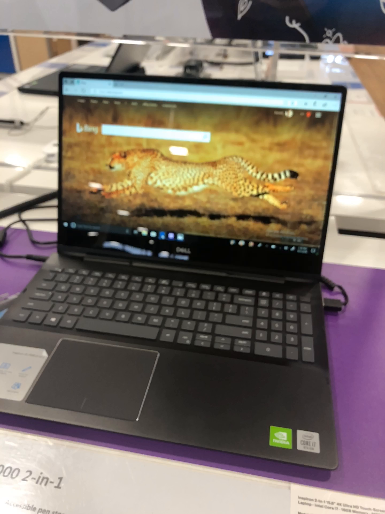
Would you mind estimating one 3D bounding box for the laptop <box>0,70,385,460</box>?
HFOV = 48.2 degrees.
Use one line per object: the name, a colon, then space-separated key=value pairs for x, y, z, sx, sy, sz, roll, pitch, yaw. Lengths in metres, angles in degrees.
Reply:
laptop: x=-0.026 y=-0.036 z=0.435 sx=0.340 sy=0.207 sz=0.325 roll=6 pitch=34 yaw=8
